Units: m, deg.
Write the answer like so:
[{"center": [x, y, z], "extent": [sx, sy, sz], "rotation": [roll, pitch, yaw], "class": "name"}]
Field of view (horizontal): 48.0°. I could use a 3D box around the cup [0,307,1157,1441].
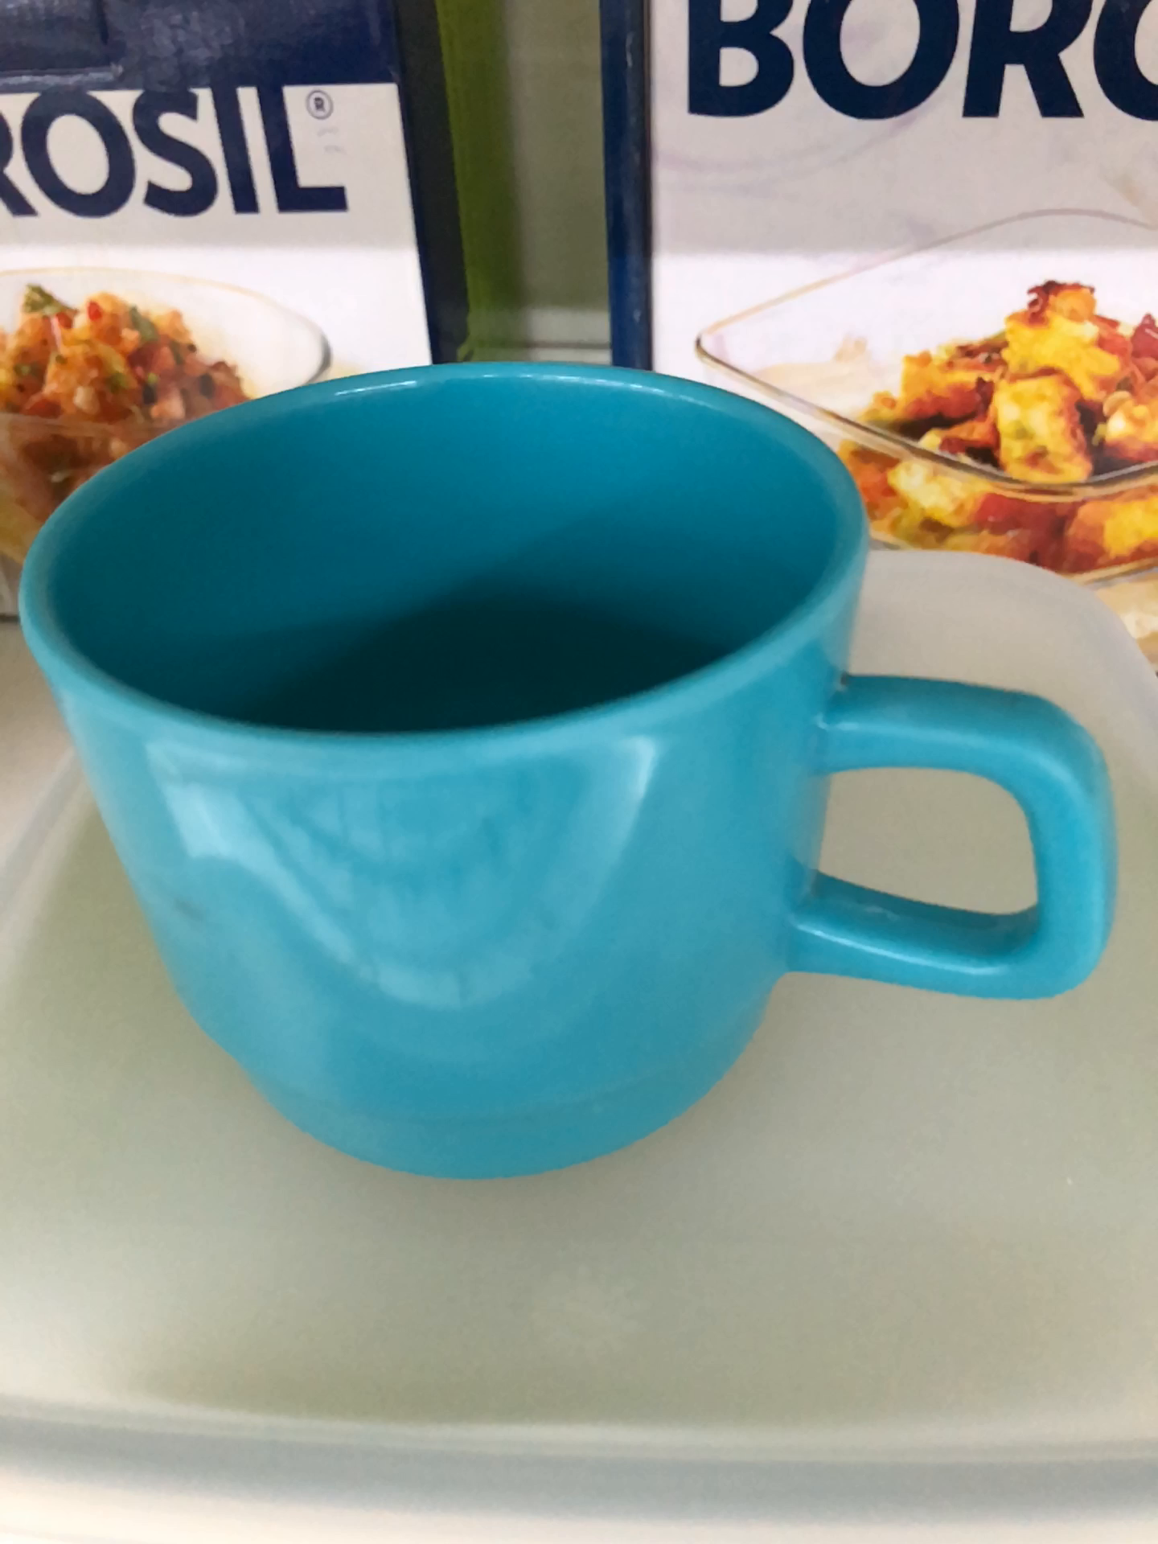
[{"center": [0.007, -0.001, 0.148], "extent": [0.120, 0.070, 0.091], "rotation": [7, 38, 13], "class": "cup"}]
